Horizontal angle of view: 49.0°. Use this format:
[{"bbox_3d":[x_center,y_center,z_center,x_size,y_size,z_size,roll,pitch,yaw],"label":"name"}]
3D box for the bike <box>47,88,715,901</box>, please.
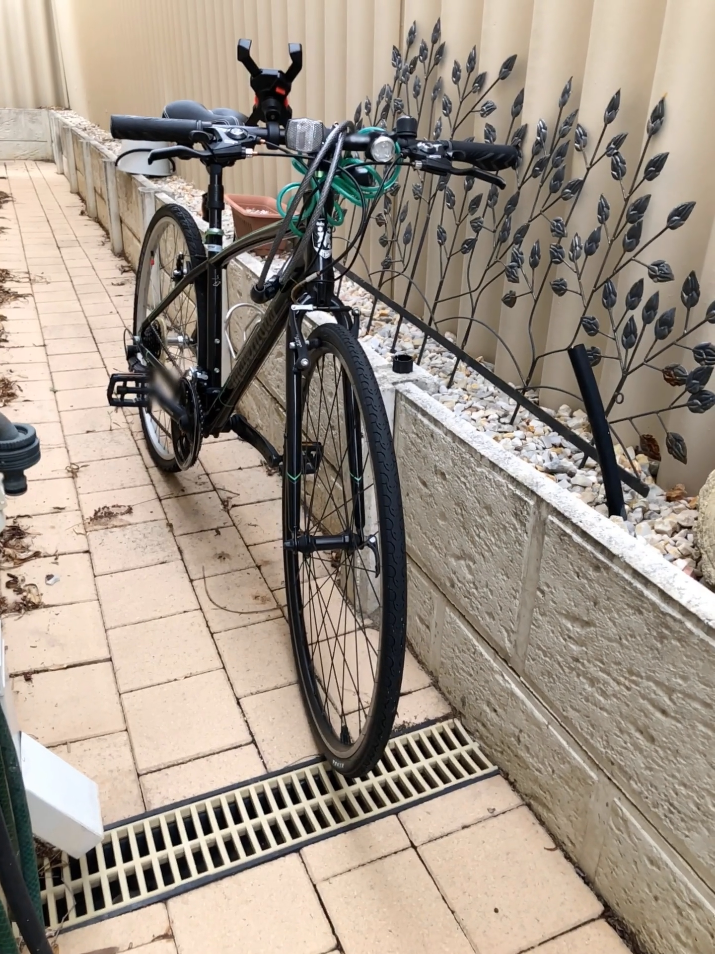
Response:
[{"bbox_3d":[-0.172,-0.274,1.586,0.638,0.859,1.705,-9,29,-22],"label":"bike"}]
